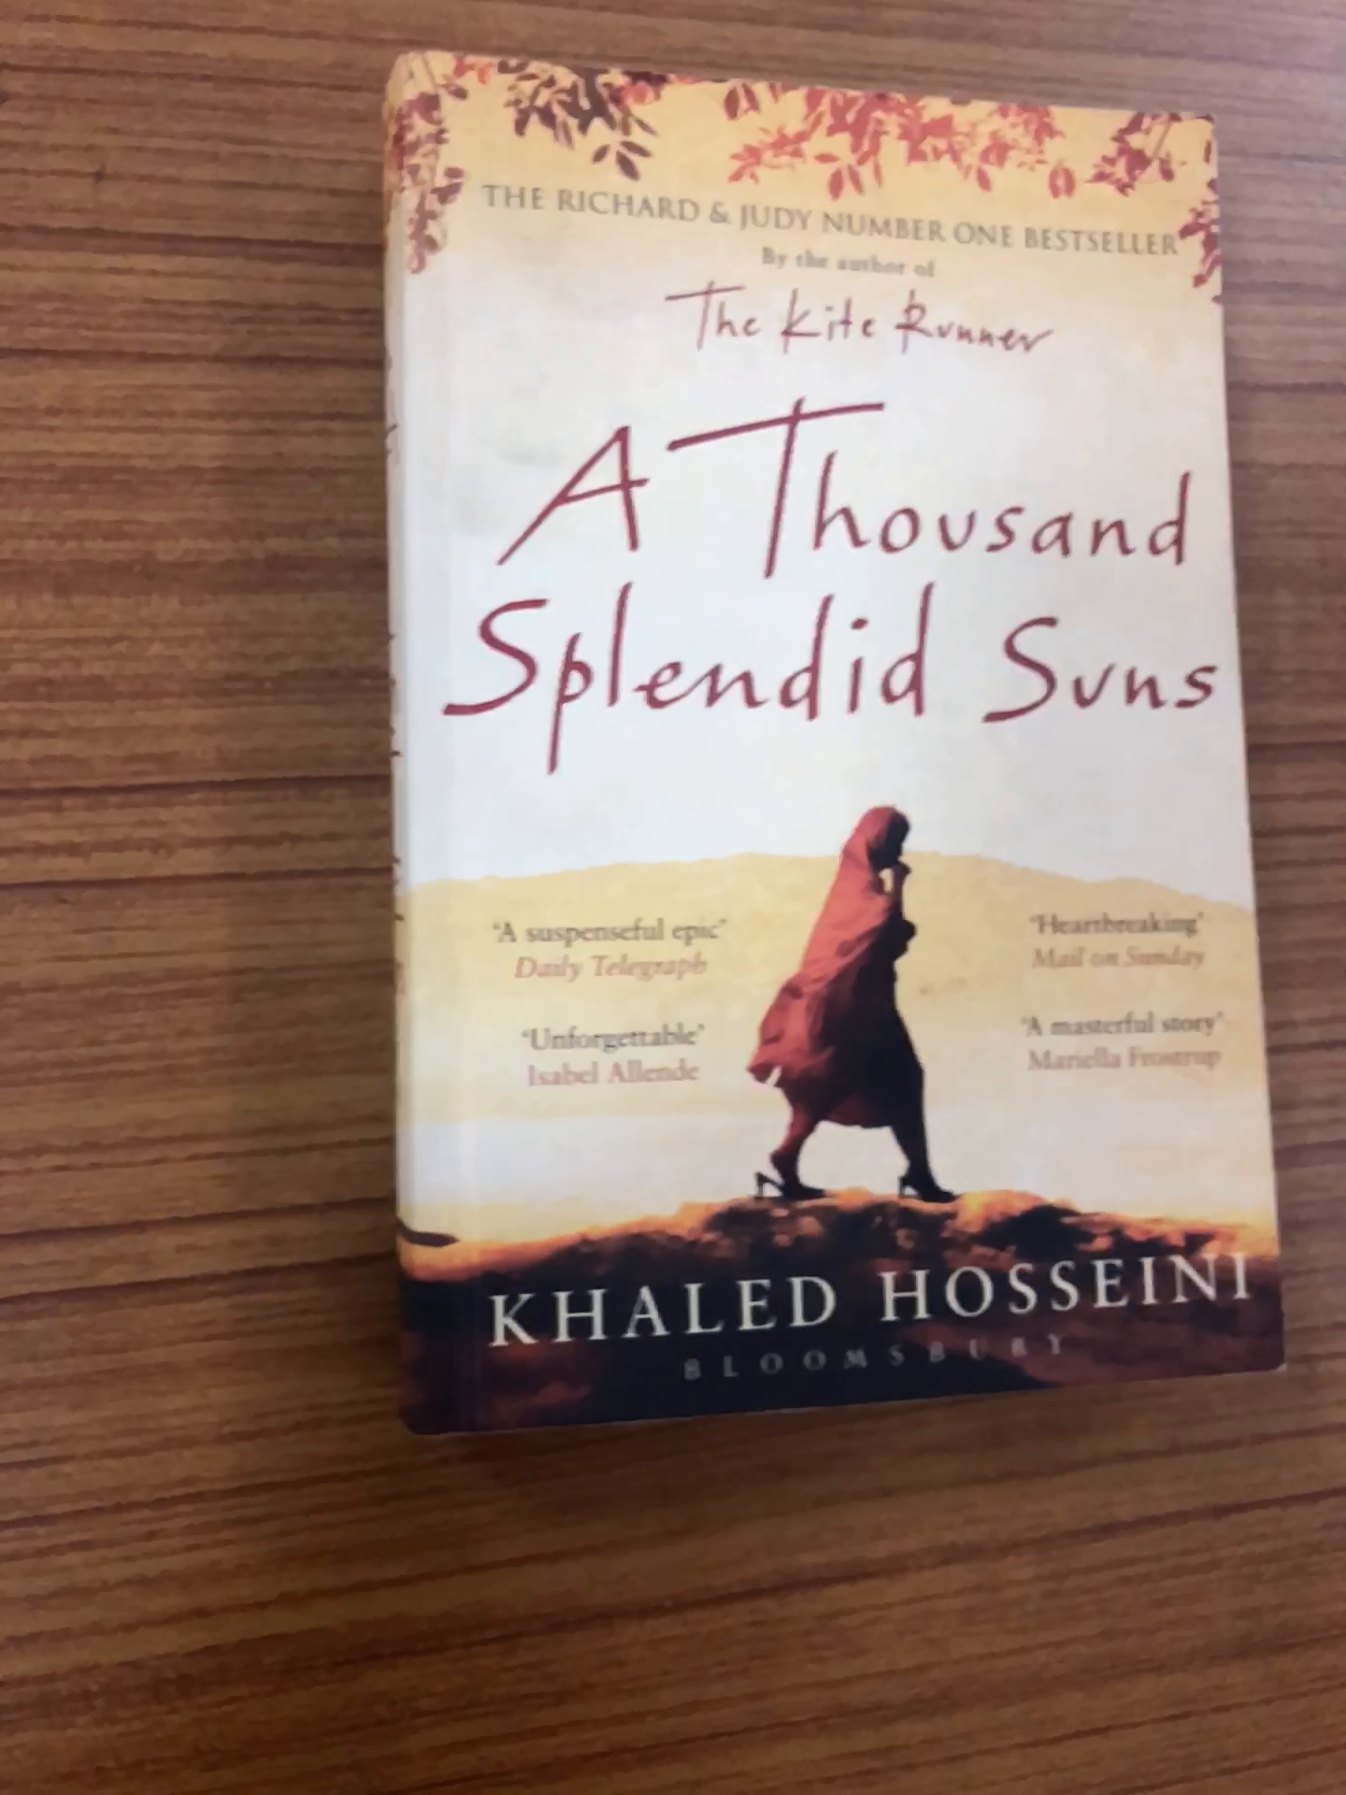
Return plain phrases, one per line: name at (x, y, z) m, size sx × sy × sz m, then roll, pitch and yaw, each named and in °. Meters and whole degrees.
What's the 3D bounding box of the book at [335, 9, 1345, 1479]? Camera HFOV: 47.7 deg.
book at (0.023, -0.022, 0.224) m, size 0.140 × 0.030 × 0.190 m, roll -1°, pitch 86°, yaw -12°
